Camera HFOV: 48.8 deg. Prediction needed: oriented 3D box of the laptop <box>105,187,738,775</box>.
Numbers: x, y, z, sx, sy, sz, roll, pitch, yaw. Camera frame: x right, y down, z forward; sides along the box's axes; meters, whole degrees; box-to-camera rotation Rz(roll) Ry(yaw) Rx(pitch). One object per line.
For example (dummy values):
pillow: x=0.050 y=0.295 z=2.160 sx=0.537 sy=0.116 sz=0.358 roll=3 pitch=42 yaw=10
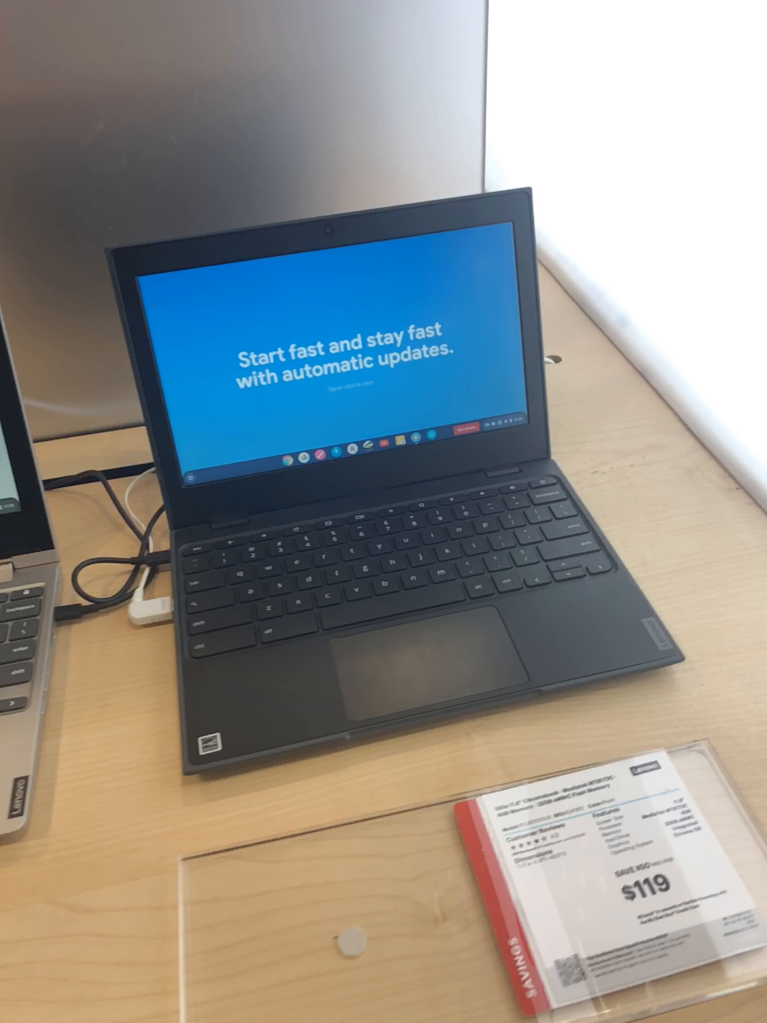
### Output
laptop: x=0.003 y=-0.043 z=0.519 sx=0.281 sy=0.178 sz=0.272 roll=-11 pitch=39 yaw=-8
